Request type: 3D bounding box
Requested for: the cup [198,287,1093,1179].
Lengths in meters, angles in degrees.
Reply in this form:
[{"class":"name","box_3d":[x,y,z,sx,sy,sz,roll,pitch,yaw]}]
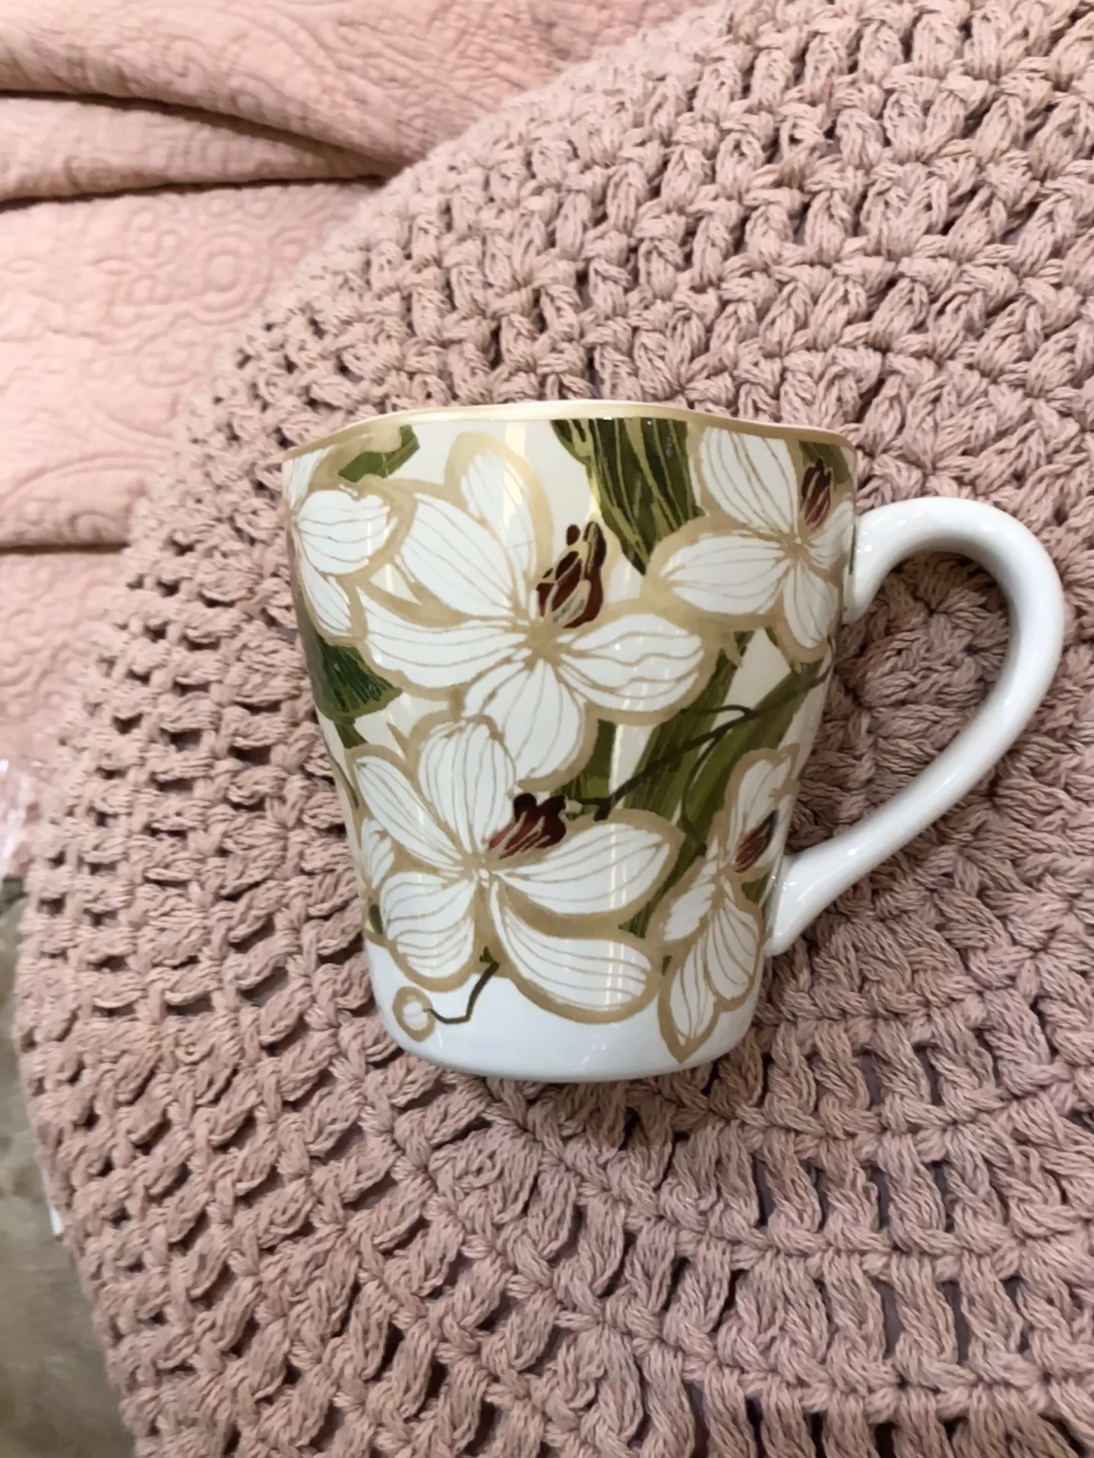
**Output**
[{"class":"cup","box_3d":[0.025,0.000,0.222,0.140,0.090,0.120,-1,92,12]}]
